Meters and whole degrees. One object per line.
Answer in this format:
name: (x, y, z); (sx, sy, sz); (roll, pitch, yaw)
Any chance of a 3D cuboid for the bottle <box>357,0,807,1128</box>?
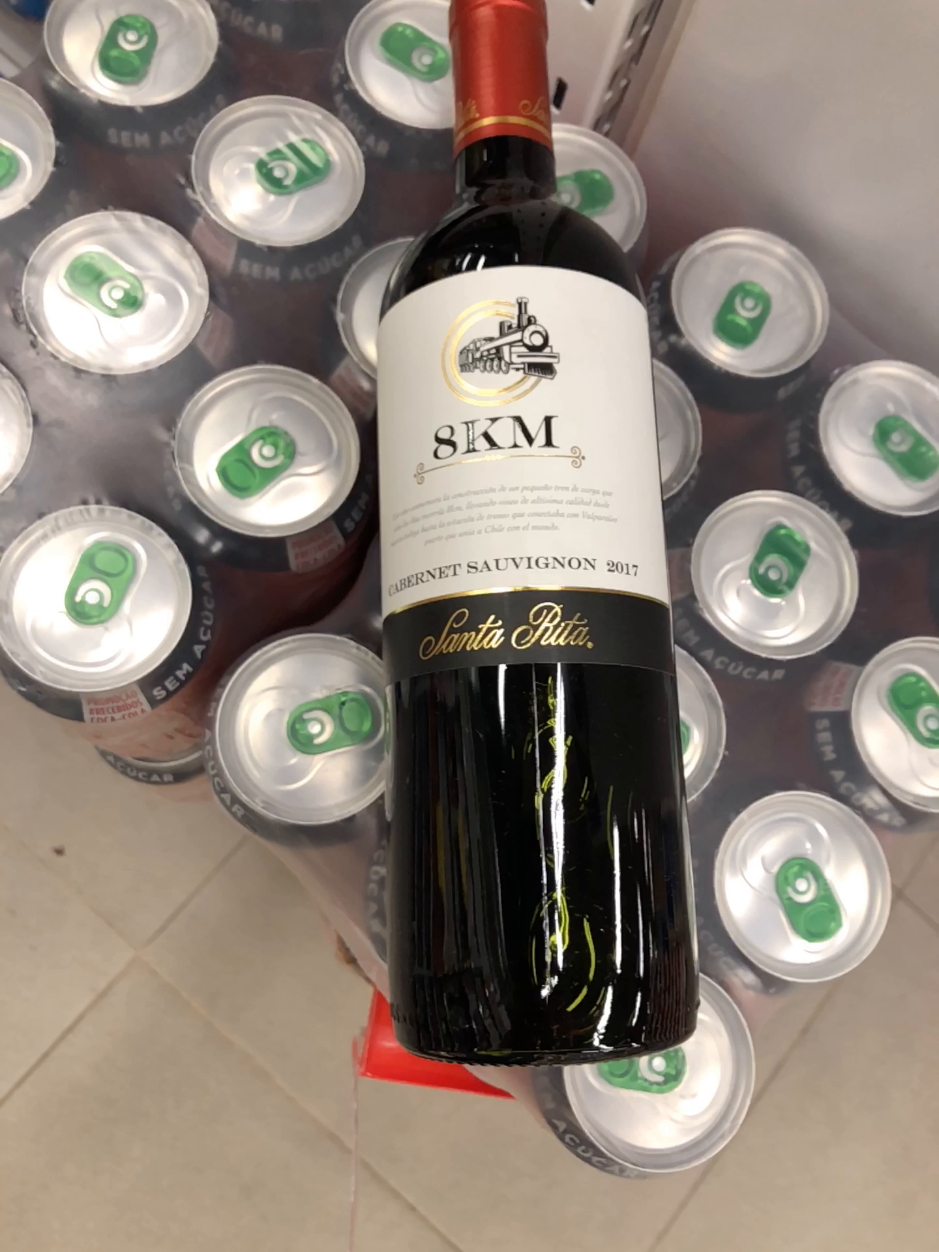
bottle: (0.015, -0.056, 0.269); (0.080, 0.070, 0.320); (0, 77, -9)
